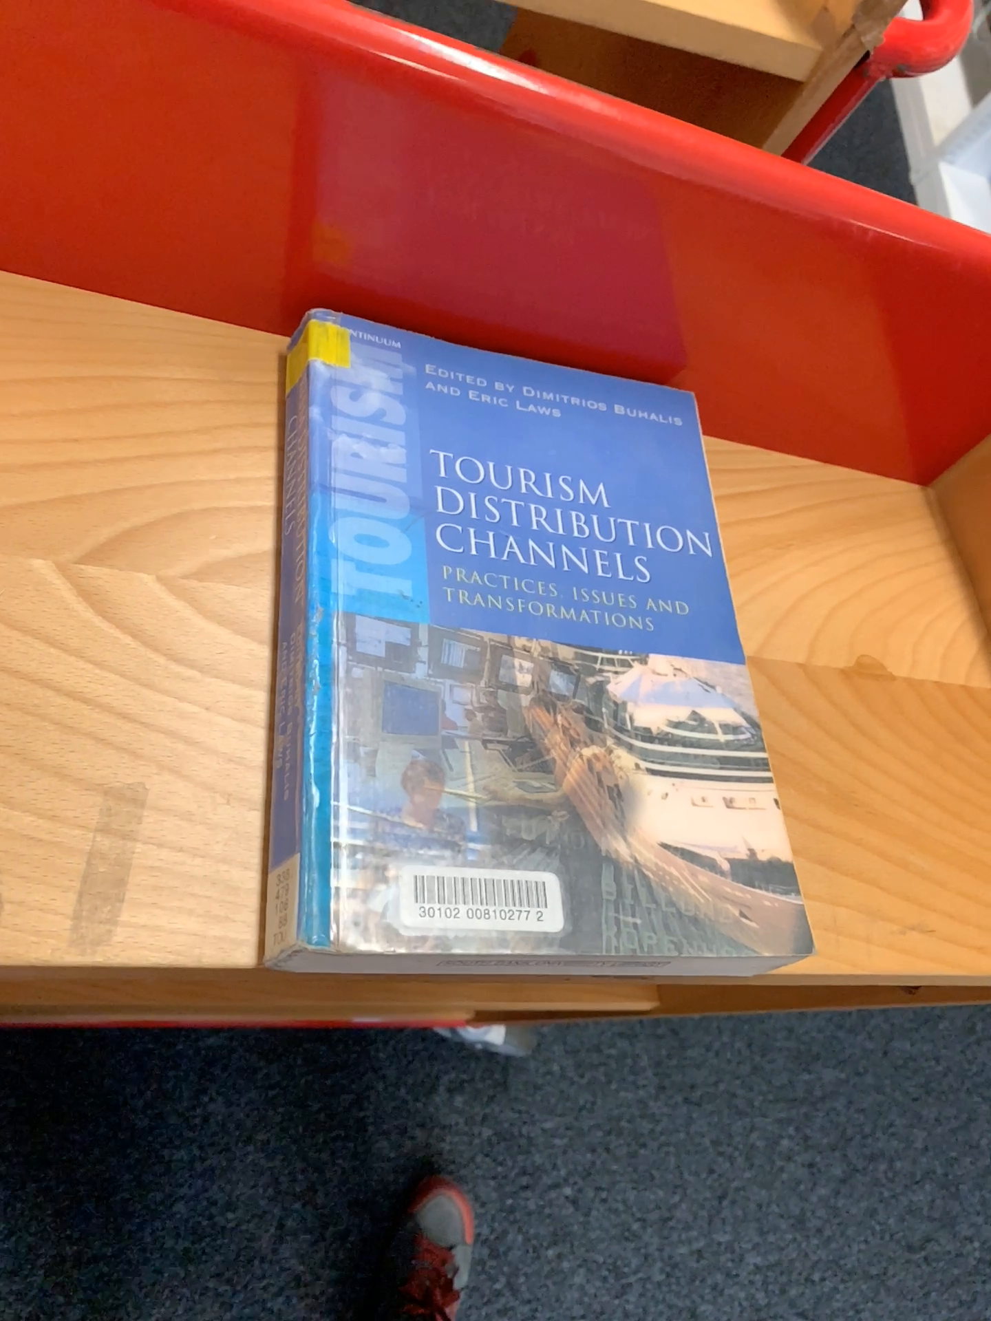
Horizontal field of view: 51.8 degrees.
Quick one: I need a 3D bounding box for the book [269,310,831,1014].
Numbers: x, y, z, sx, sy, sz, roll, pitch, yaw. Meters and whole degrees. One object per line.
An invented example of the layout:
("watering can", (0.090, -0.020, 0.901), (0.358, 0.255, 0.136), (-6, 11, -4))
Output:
("book", (0.014, -0.004, 0.355), (0.167, 0.031, 0.239), (8, 59, -21))
